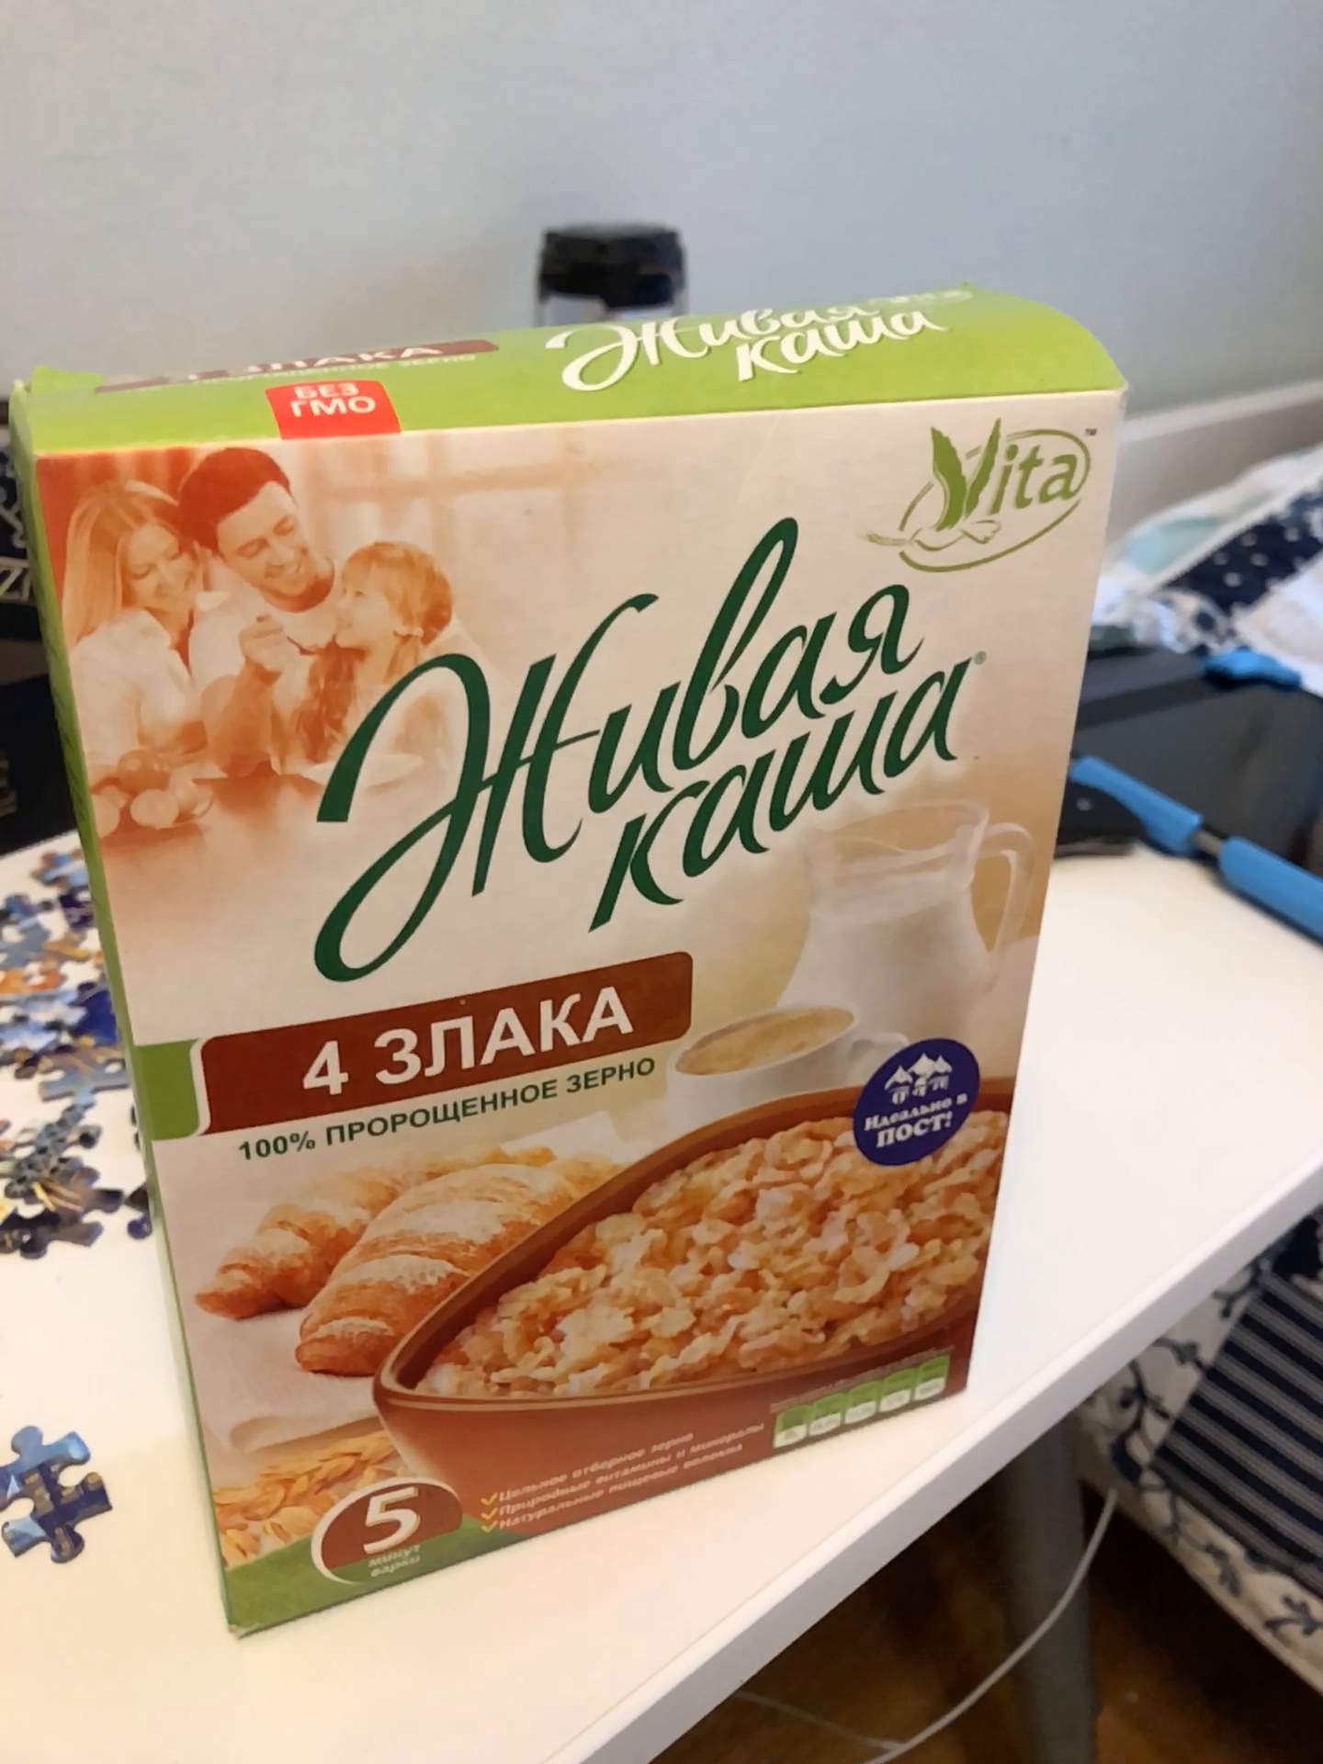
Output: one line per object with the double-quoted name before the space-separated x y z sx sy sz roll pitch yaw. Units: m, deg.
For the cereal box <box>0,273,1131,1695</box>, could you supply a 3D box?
"cereal box" -0.015 0.018 0.238 0.140 0.209 0.050 -10 30 -21
